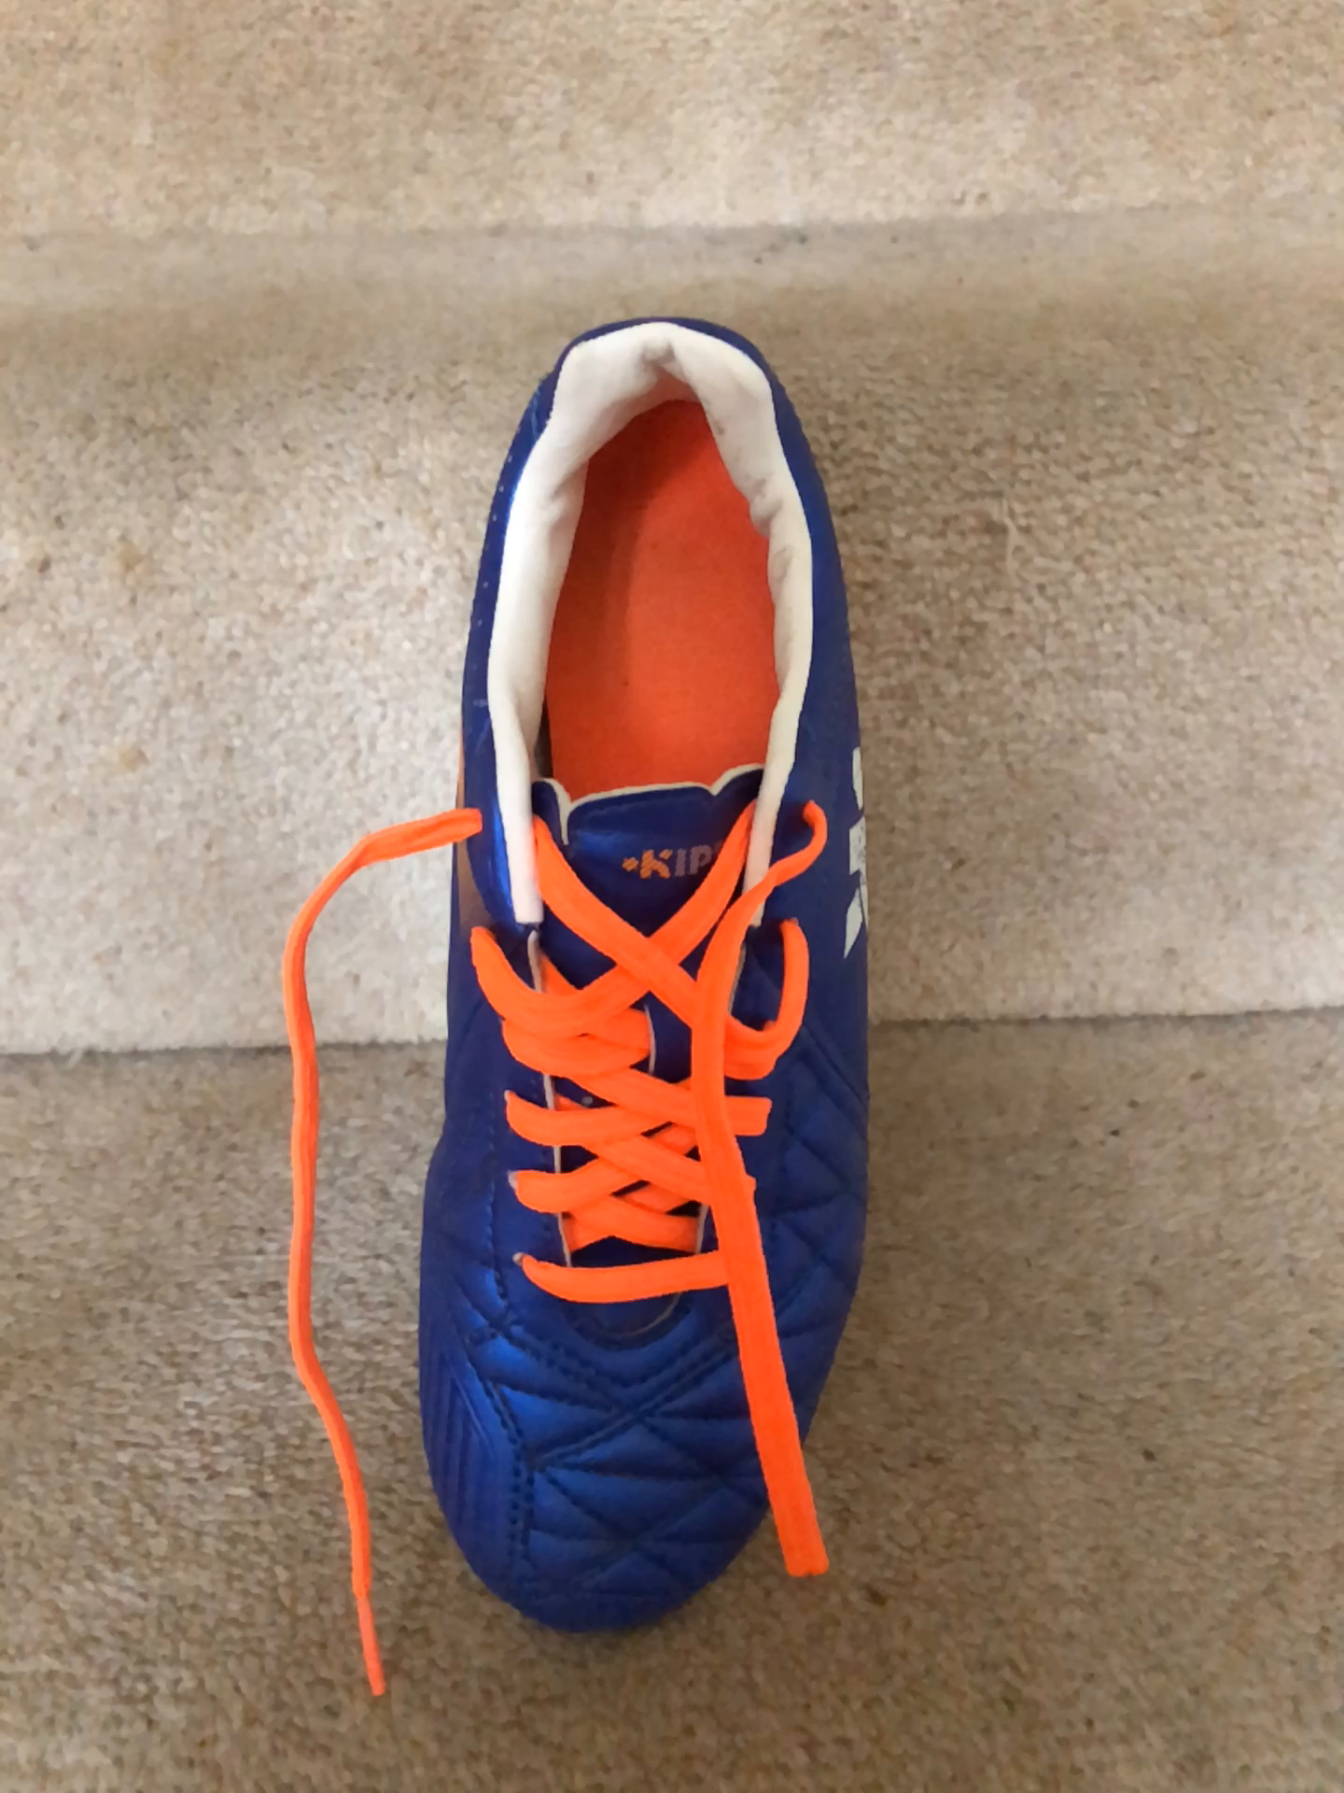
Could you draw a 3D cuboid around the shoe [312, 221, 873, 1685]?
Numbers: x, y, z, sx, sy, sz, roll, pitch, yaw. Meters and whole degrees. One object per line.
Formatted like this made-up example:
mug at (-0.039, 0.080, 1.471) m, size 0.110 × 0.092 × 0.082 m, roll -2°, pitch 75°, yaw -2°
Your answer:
shoe at (-0.010, 0.008, 0.267) m, size 0.070 × 0.210 × 0.100 m, roll 3°, pitch -7°, yaw -1°
